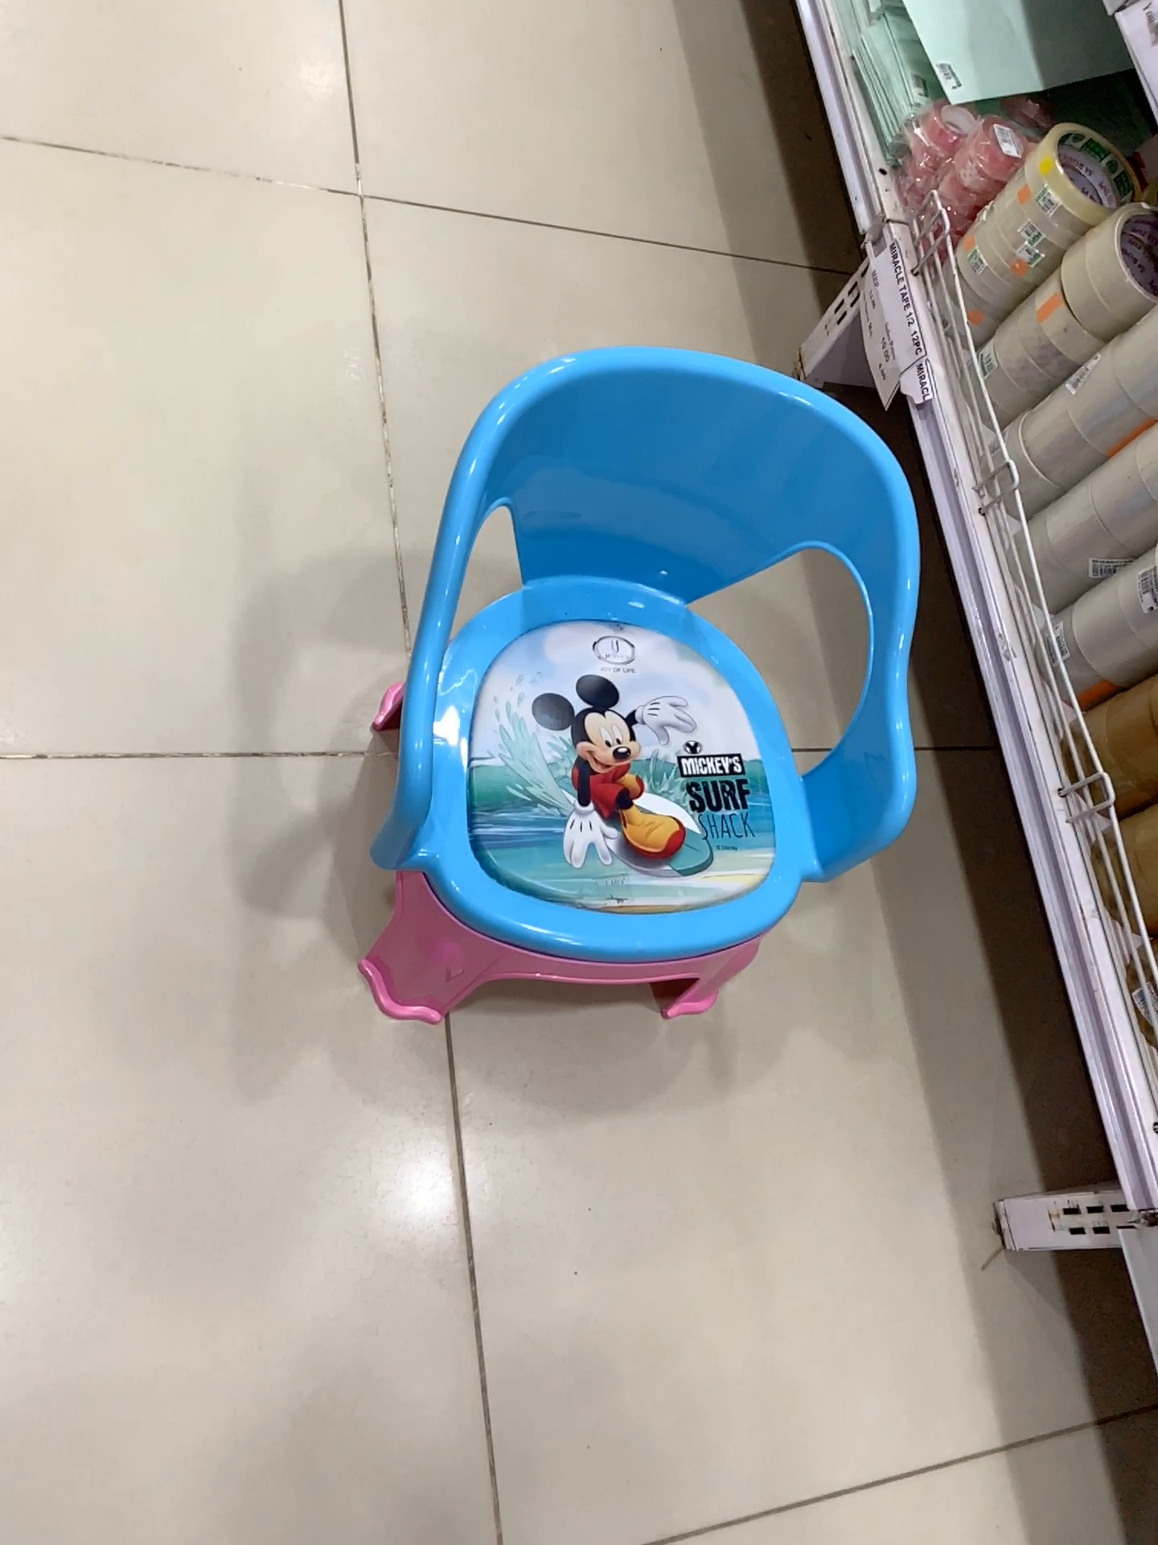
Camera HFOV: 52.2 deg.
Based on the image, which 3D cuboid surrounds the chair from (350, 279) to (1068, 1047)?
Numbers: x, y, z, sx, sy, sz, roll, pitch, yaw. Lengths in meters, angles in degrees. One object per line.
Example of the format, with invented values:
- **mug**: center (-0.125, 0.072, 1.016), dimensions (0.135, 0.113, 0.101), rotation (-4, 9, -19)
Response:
- **chair**: center (0.043, -0.037, 0.810), dimensions (0.350, 0.319, 0.390), rotation (3, 69, -19)
